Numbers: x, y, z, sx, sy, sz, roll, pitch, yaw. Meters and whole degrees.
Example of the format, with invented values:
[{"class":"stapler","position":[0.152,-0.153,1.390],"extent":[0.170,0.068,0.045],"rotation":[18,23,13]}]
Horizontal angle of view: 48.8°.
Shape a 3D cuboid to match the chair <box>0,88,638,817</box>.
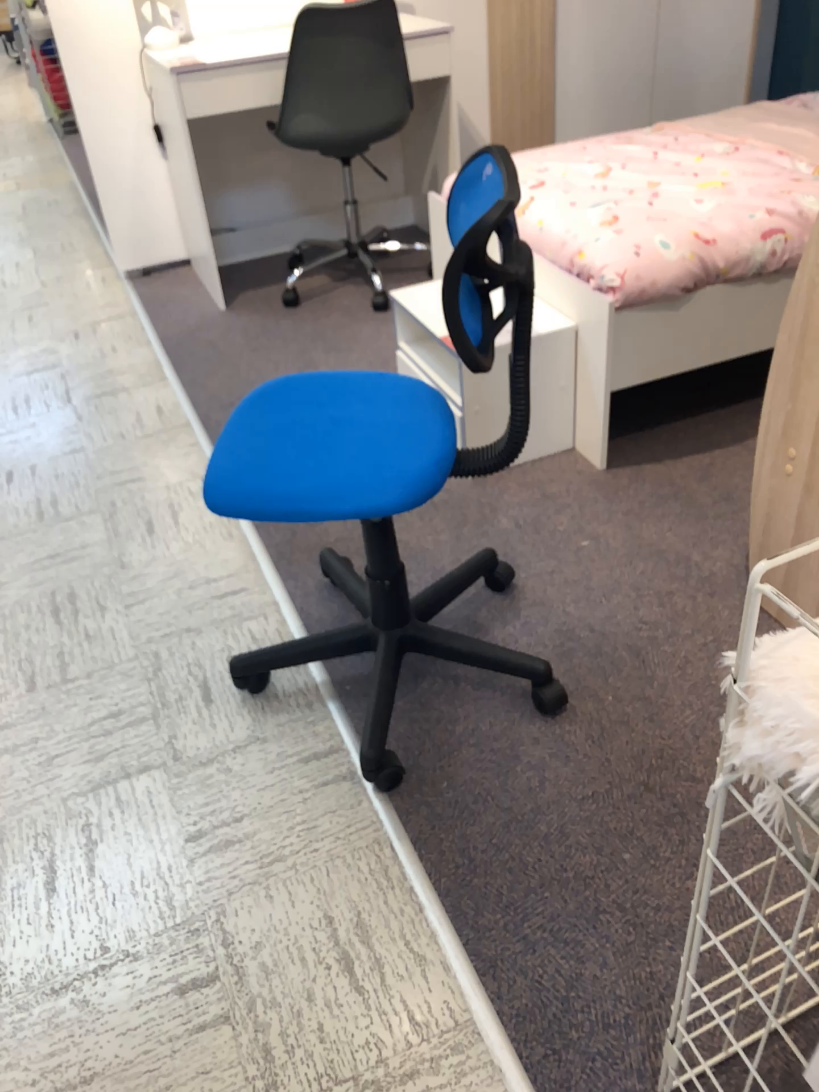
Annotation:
[{"class":"chair","position":[-0.066,-0.155,1.345],"extent":[0.610,0.795,0.664],"rotation":[-6,35,1]}]
